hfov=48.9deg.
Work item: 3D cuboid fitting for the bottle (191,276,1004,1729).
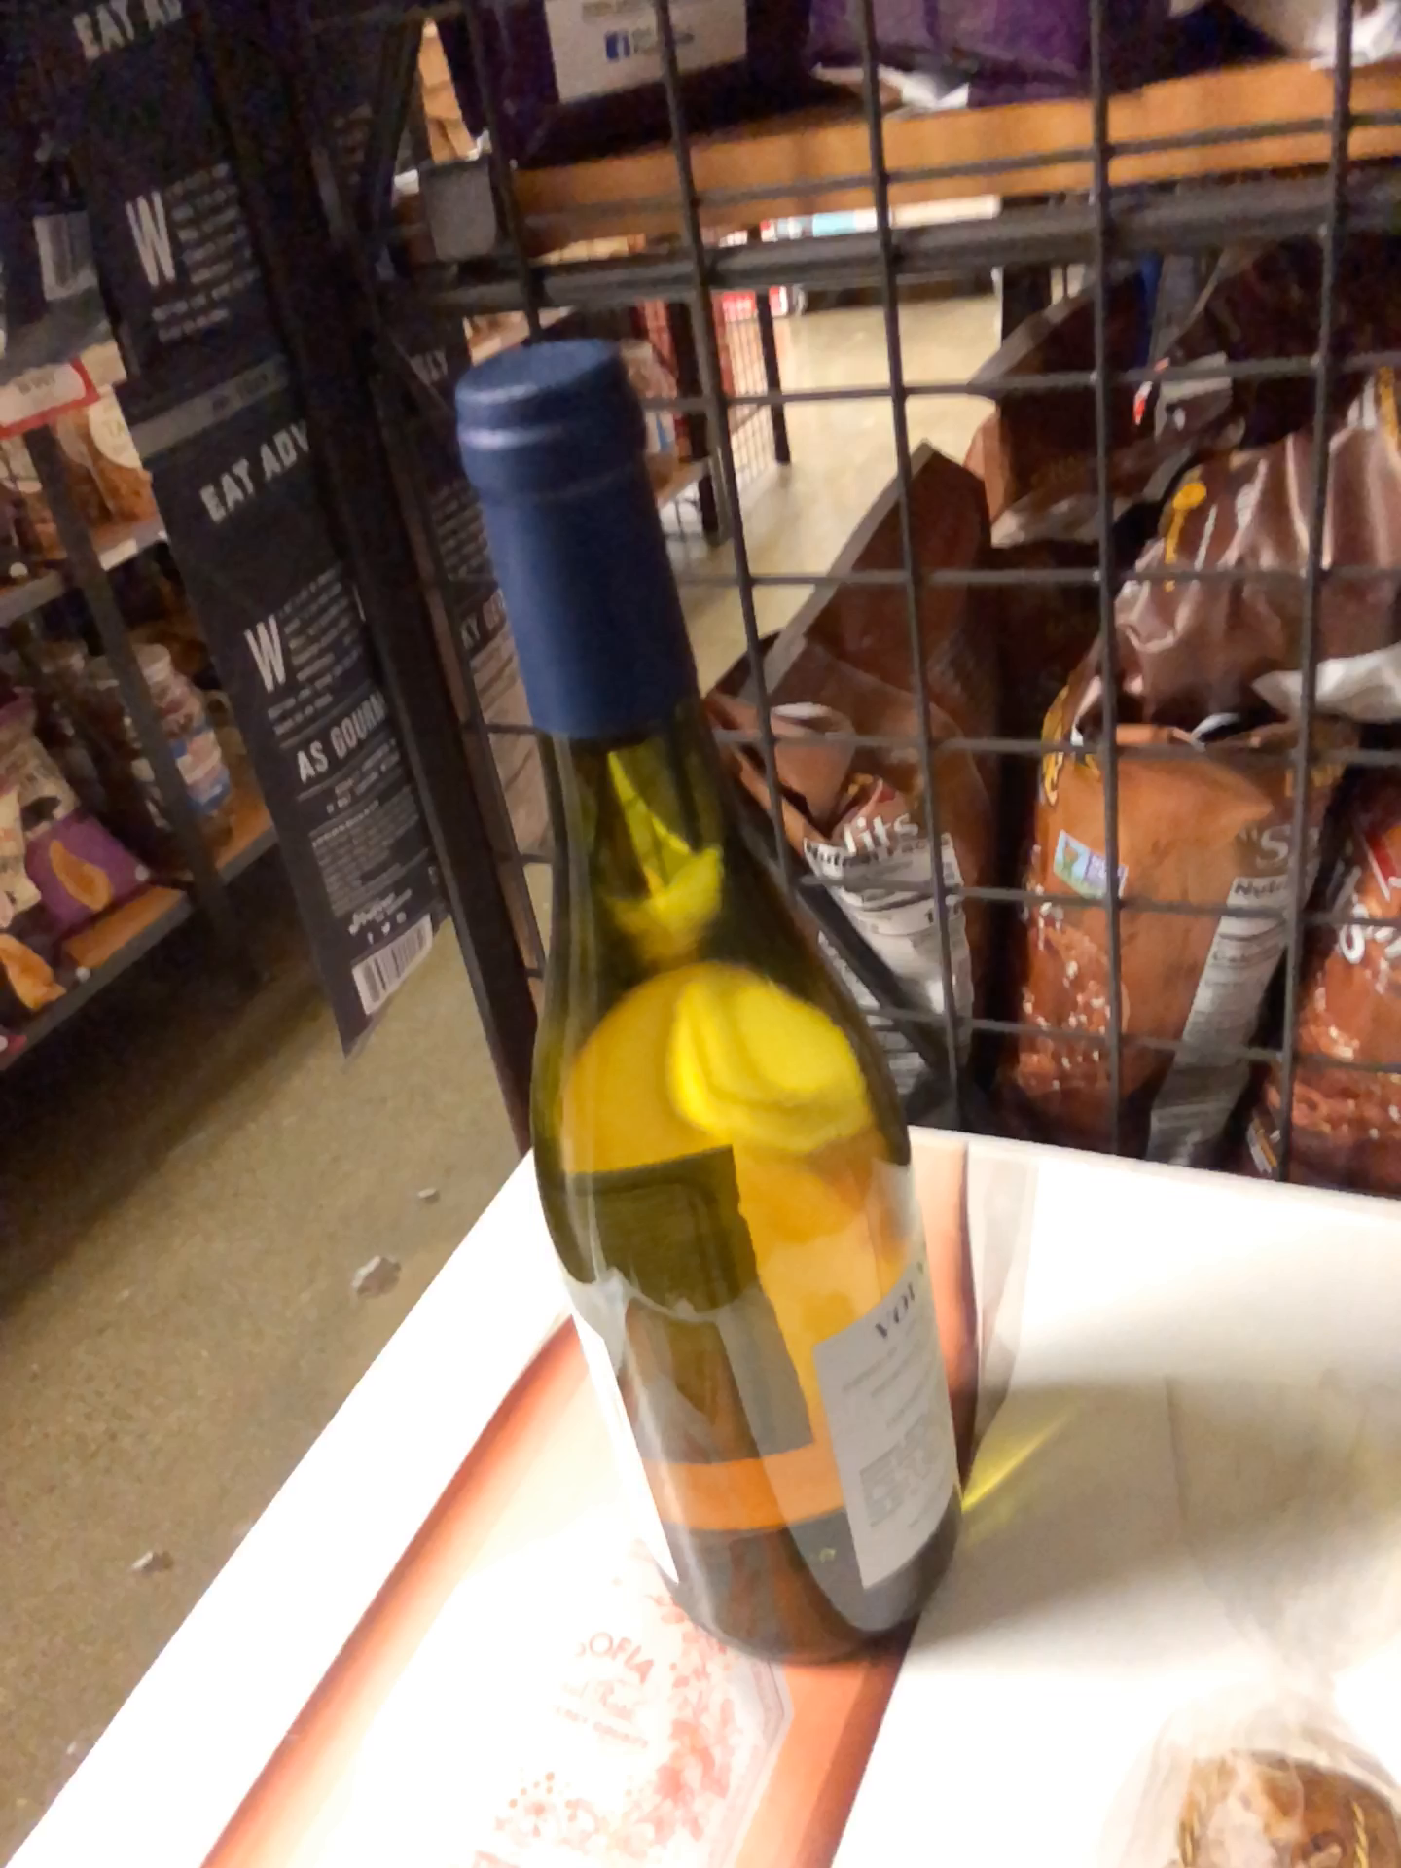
[{"bbox_3d":[0.002,0.028,0.312,0.084,0.281,0.084,-7,32,5],"label":"bottle"}]
